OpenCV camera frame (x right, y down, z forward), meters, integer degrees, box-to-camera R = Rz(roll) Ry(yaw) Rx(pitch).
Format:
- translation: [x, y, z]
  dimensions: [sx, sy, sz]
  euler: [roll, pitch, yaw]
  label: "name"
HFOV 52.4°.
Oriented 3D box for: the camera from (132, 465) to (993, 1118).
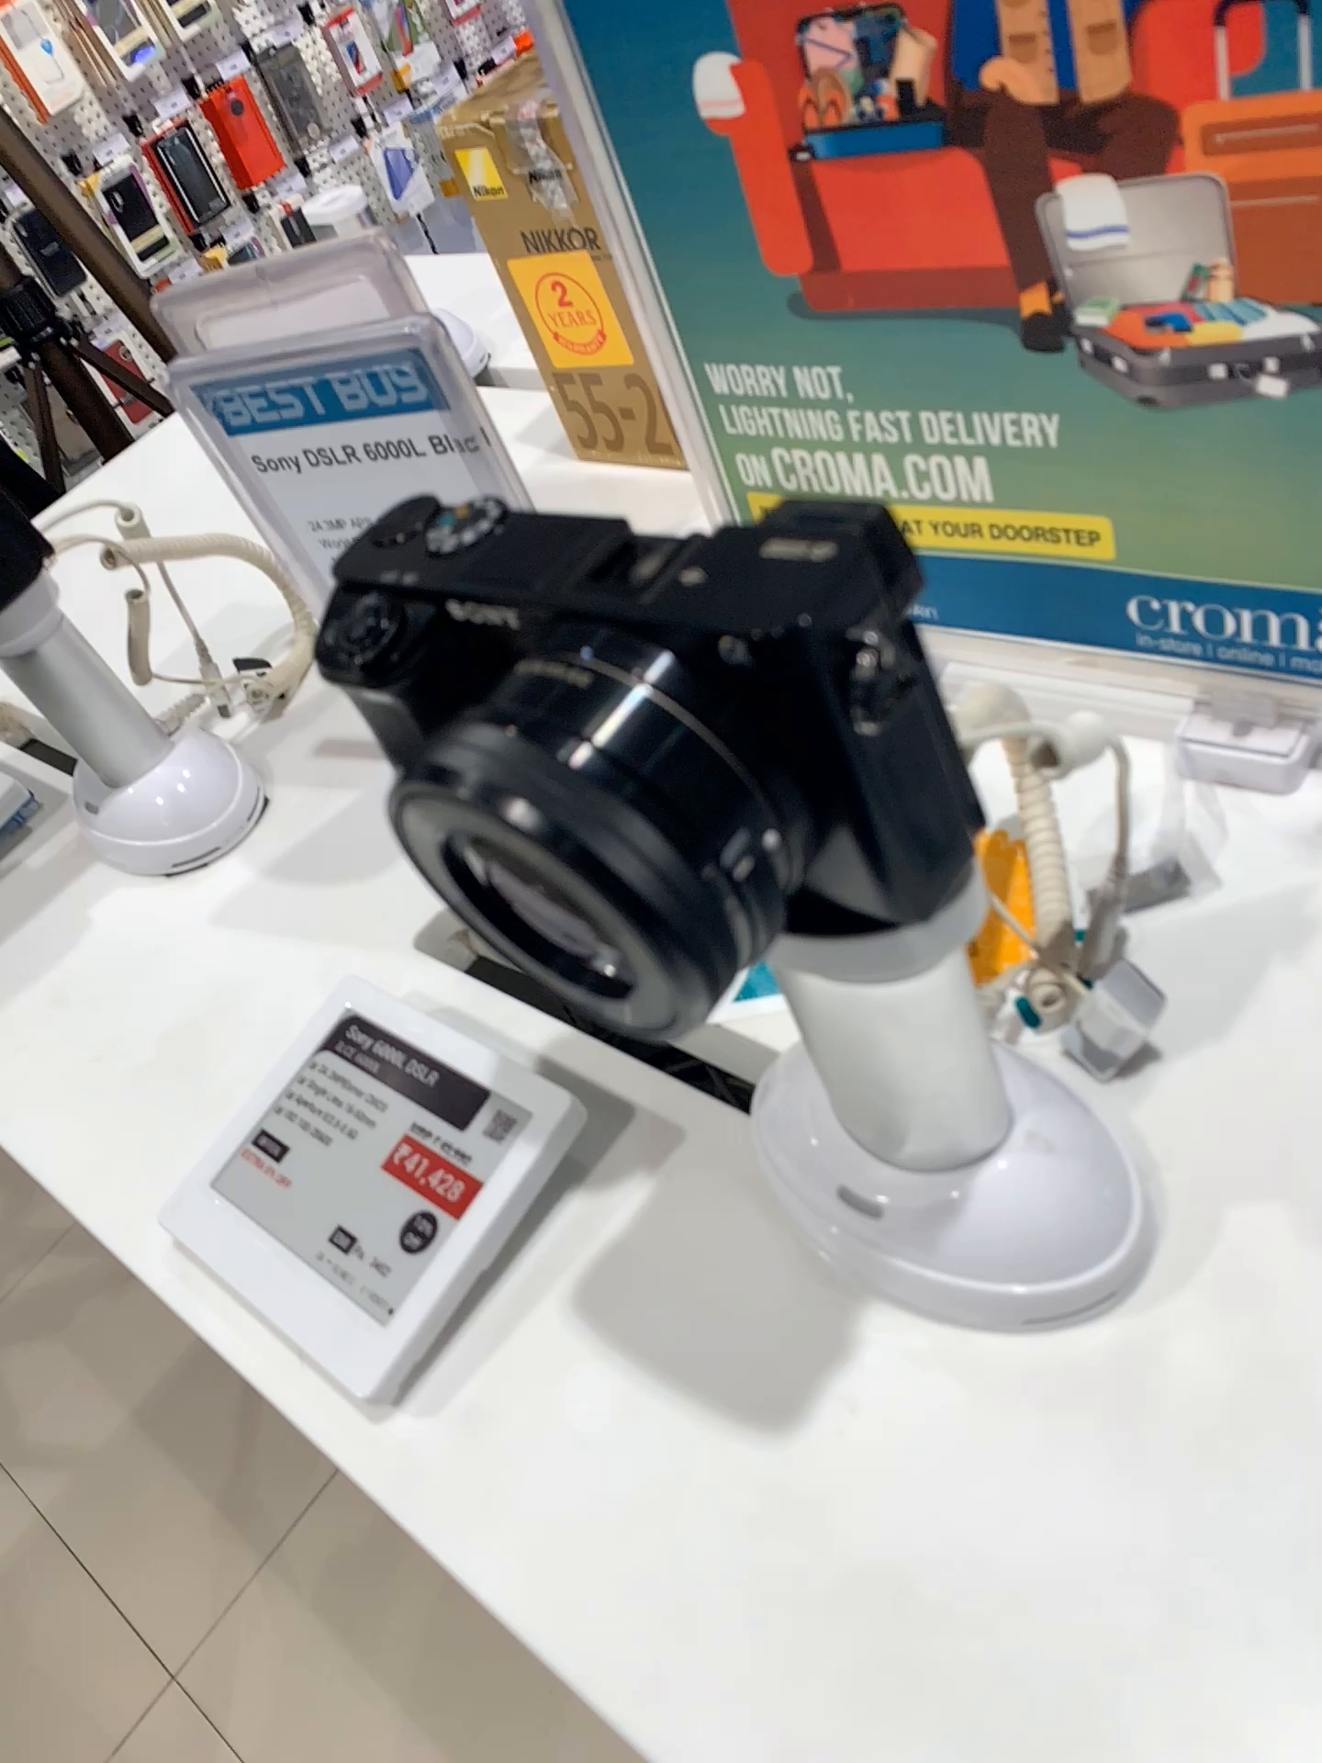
- translation: [-0.016, -0.021, 0.227]
  dimensions: [0.118, 0.073, 0.055]
  euler: [15, 56, 37]
  label: "camera"
